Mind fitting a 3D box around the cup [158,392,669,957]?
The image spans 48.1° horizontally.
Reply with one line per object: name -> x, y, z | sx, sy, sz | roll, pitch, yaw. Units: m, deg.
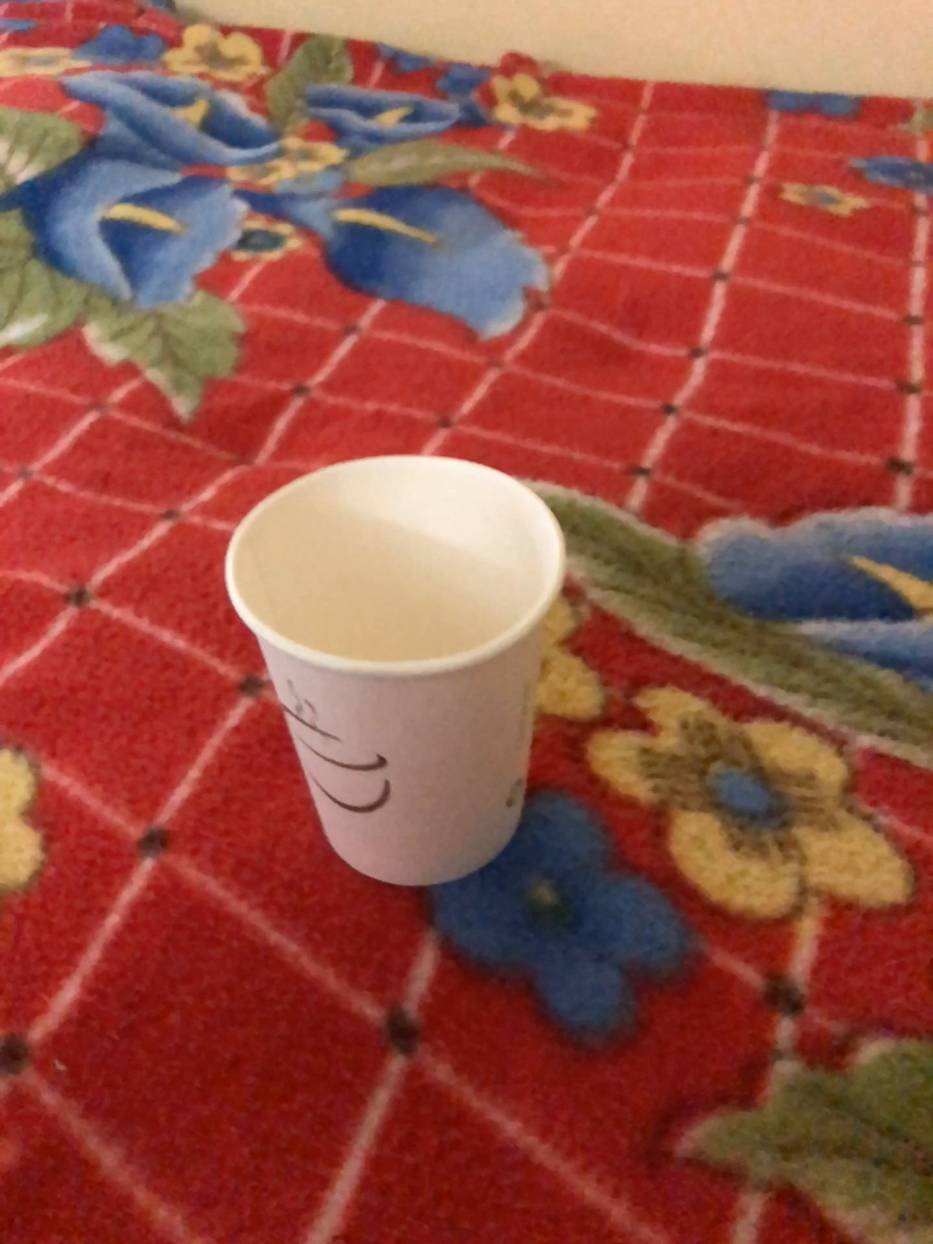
cup -> -0.011, 0.010, 0.275 | 0.090, 0.090, 0.080 | 32, 55, 32
